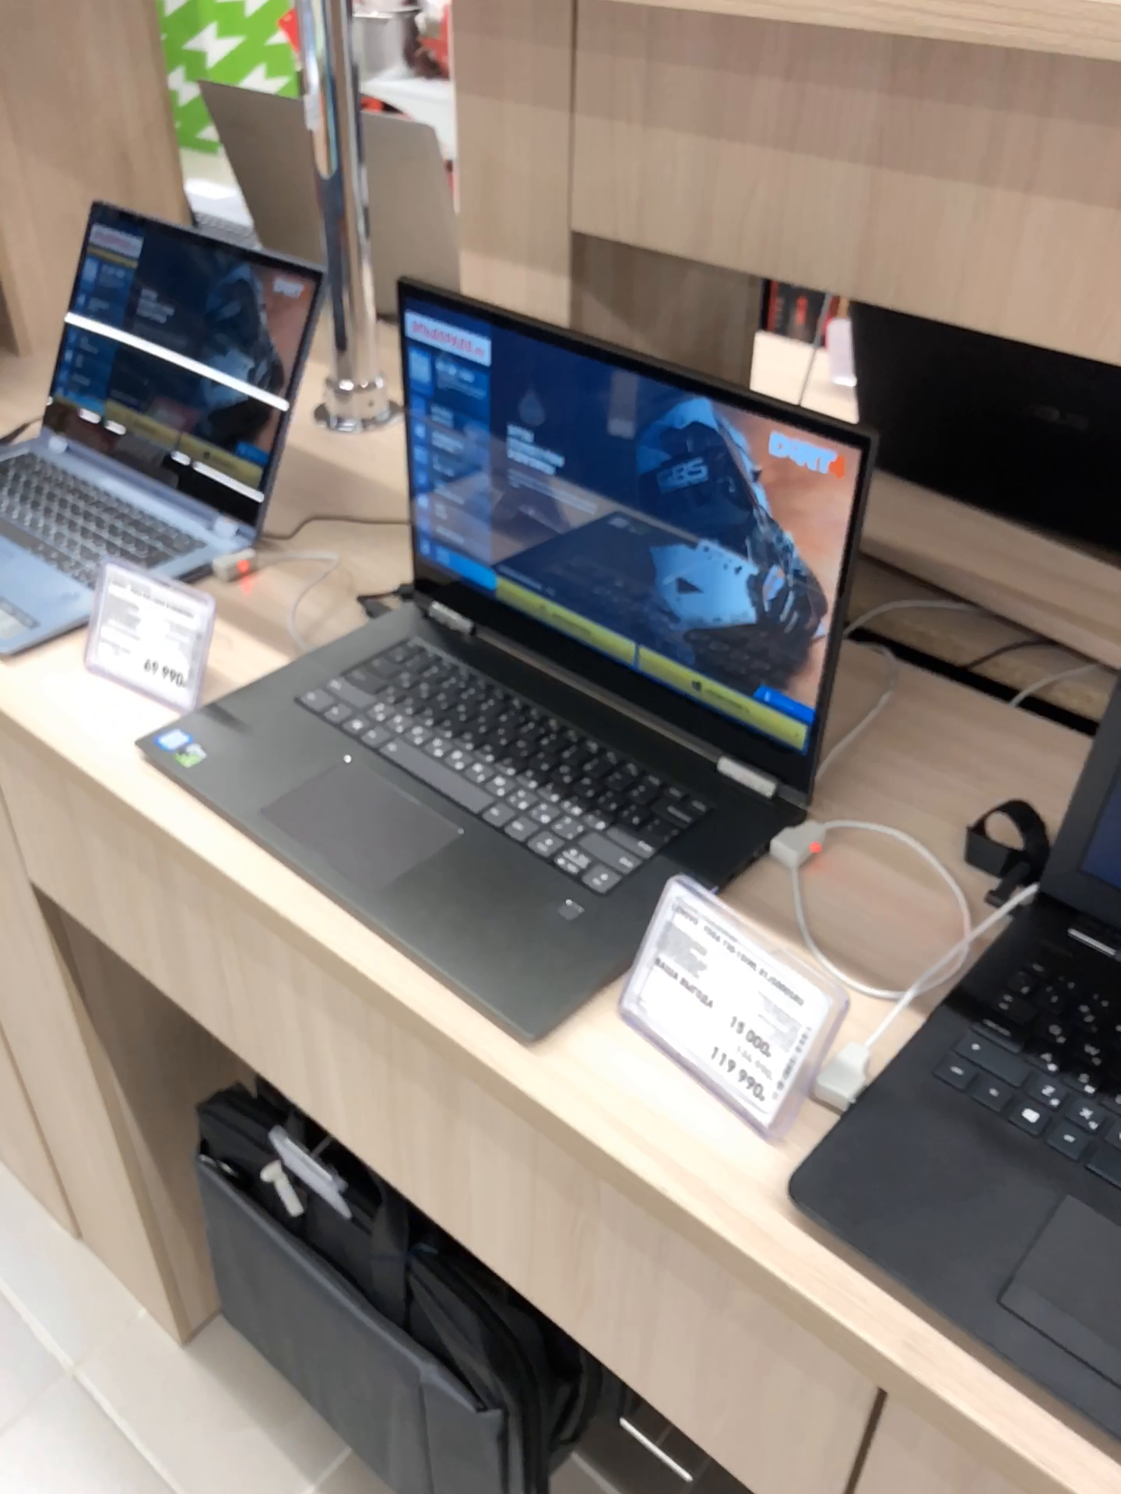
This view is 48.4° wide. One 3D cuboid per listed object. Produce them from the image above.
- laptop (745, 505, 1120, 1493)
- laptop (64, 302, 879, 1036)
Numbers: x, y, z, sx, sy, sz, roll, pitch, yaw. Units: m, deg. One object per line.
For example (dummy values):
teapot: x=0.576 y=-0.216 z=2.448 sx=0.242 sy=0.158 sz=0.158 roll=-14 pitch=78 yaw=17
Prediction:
laptop: x=0.315 y=0.084 z=0.474 sx=0.308 sy=0.238 sz=0.306 roll=-25 pitch=39 yaw=-34
laptop: x=-0.059 y=-0.077 z=0.735 sx=0.359 sy=0.240 sz=0.252 roll=29 pitch=45 yaw=35
